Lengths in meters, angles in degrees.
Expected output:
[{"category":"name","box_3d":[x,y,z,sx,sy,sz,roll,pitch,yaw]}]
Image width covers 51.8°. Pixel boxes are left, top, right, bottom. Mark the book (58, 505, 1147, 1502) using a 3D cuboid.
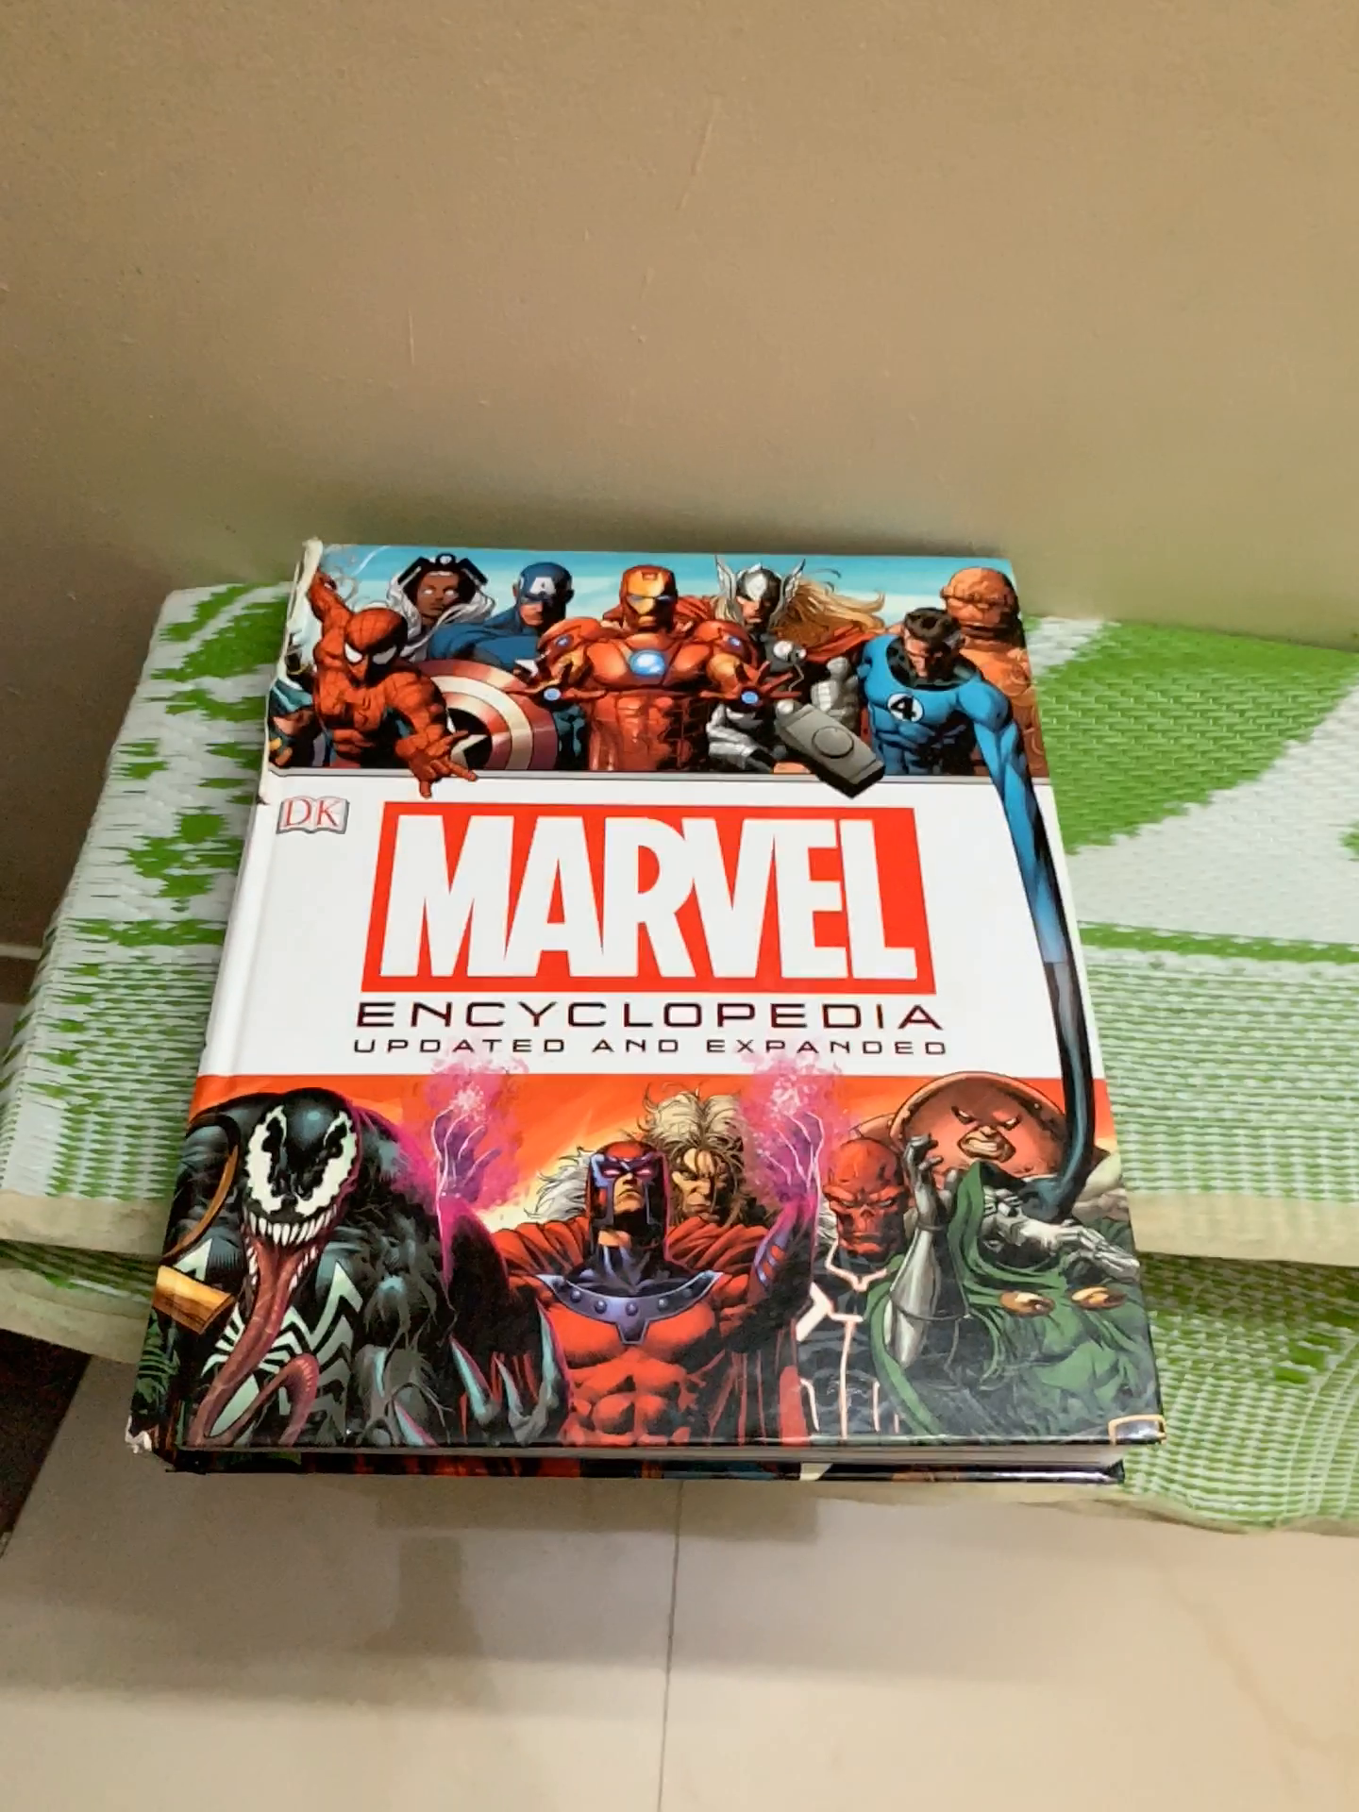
[{"category":"book","box_3d":[-0.017,0.008,0.434,0.260,0.040,0.321,1,59,-2]}]
